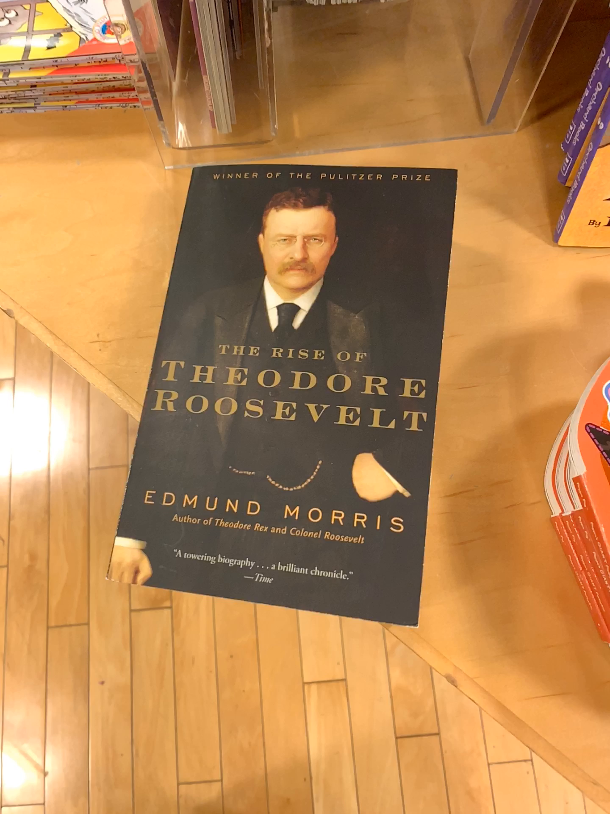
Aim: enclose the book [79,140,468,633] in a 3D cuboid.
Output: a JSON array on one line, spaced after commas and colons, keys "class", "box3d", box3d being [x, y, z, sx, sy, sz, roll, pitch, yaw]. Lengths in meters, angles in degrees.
[{"class": "book", "box3d": [-0.006, -0.011, 0.290, 0.130, 0.066, 0.195, 8, 75, 3]}]
